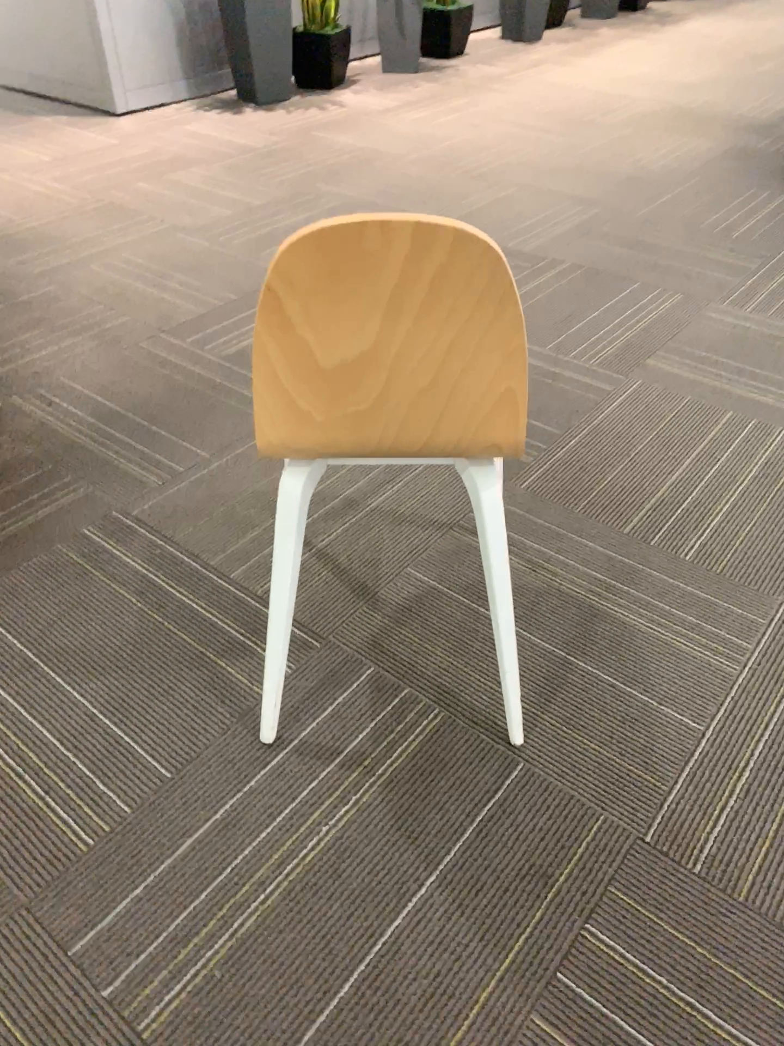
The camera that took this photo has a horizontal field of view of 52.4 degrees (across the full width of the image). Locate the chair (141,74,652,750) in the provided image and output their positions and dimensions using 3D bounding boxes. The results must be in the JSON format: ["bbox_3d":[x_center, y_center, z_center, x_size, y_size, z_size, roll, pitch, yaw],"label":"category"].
[{"bbox_3d":[0.009,-0.151,1.201,0.460,0.825,0.574,1,40,1],"label":"chair"}]
